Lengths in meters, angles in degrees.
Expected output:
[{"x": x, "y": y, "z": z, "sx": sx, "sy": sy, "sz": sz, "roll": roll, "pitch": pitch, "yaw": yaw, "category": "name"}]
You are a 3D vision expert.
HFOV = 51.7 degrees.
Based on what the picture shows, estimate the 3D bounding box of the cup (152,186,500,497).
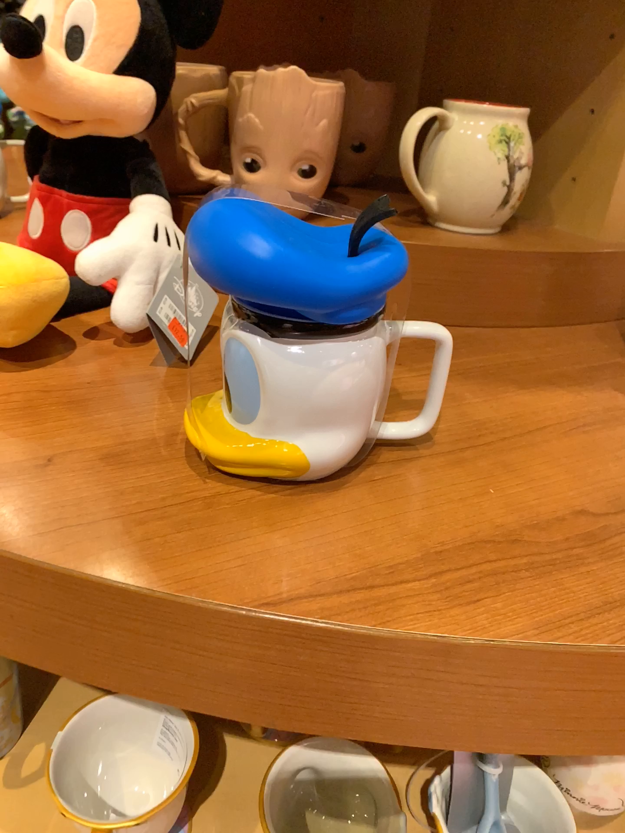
[{"x": 0.000, "y": -0.046, "z": 0.351, "sx": 0.149, "sy": 0.132, "sz": 0.106, "roll": -3, "pitch": 30, "yaw": -7, "category": "cup"}]
